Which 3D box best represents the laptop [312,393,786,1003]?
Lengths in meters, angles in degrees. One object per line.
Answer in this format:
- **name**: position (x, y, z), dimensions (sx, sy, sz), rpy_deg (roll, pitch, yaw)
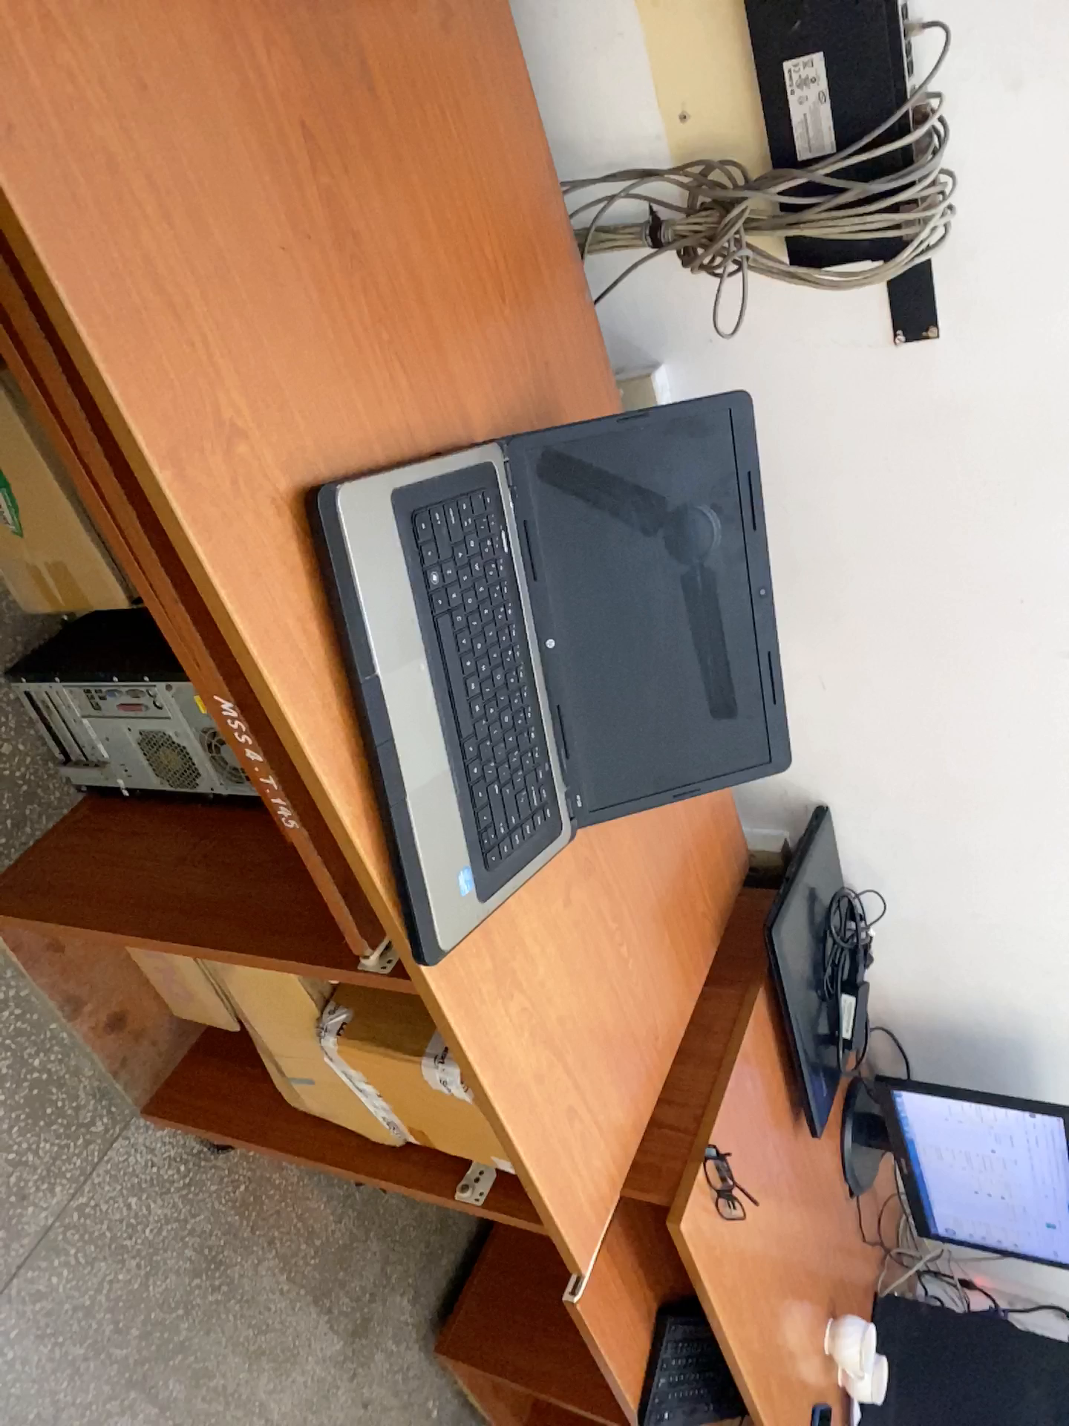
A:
- **laptop**: position (0.053, -0.044, 0.939), dimensions (0.428, 0.158, 0.383), rpy_deg (-34, 119, -52)
